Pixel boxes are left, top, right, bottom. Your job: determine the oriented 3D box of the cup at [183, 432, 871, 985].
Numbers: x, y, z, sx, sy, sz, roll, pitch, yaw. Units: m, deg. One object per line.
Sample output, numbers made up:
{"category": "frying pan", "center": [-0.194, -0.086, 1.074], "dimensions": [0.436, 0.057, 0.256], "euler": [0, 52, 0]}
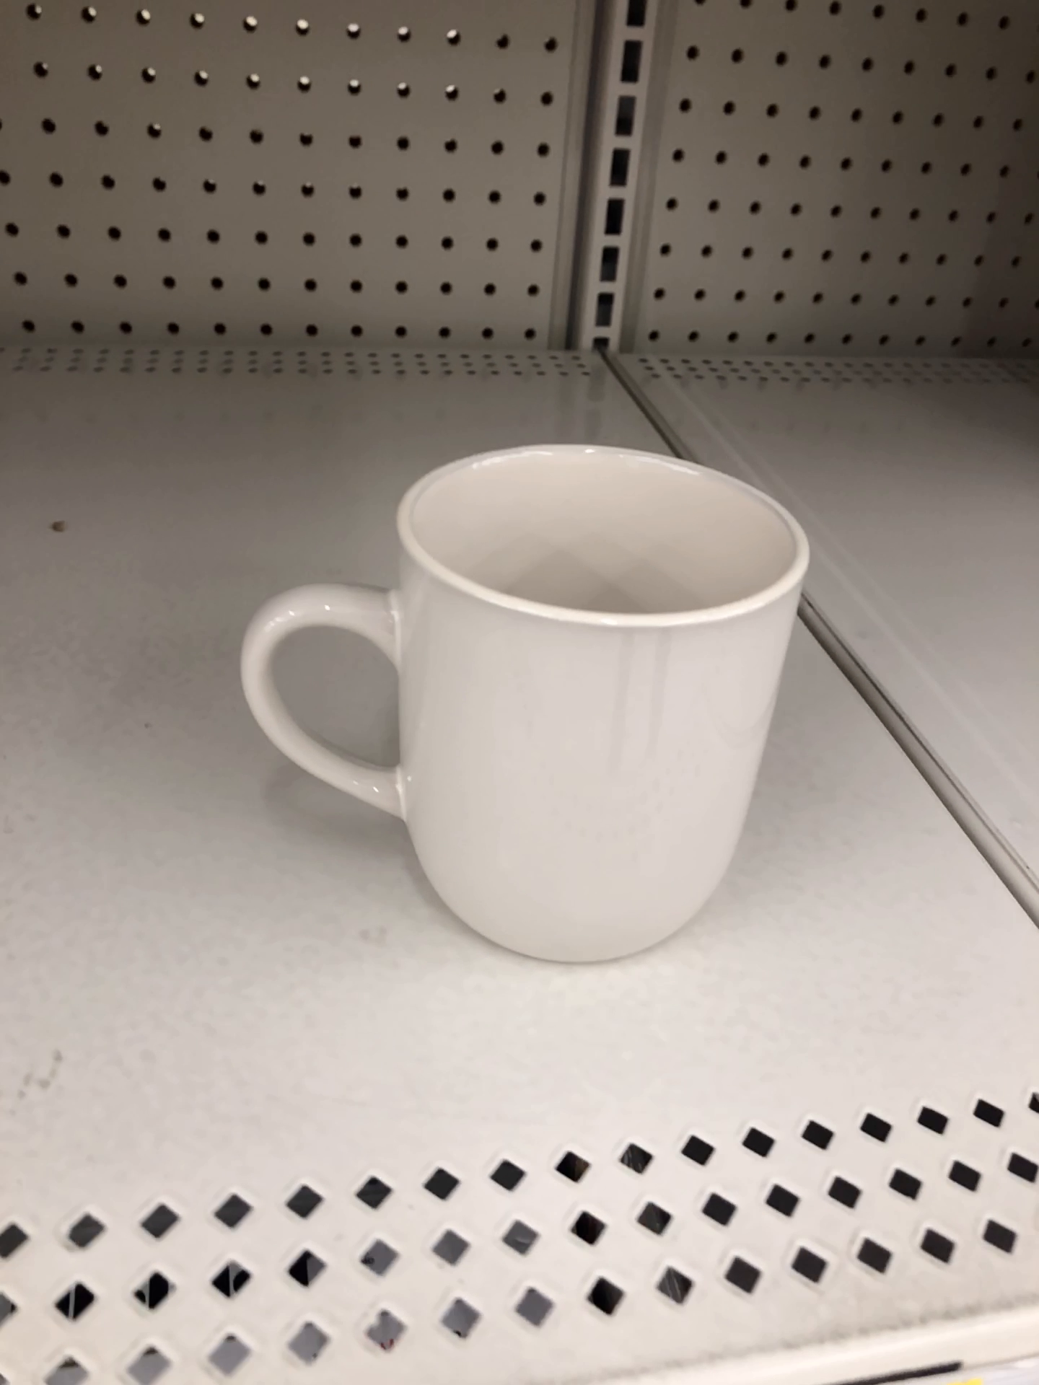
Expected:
{"category": "cup", "center": [-0.003, 0.002, 0.262], "dimensions": [0.121, 0.090, 0.087], "euler": [1, 32, -5]}
